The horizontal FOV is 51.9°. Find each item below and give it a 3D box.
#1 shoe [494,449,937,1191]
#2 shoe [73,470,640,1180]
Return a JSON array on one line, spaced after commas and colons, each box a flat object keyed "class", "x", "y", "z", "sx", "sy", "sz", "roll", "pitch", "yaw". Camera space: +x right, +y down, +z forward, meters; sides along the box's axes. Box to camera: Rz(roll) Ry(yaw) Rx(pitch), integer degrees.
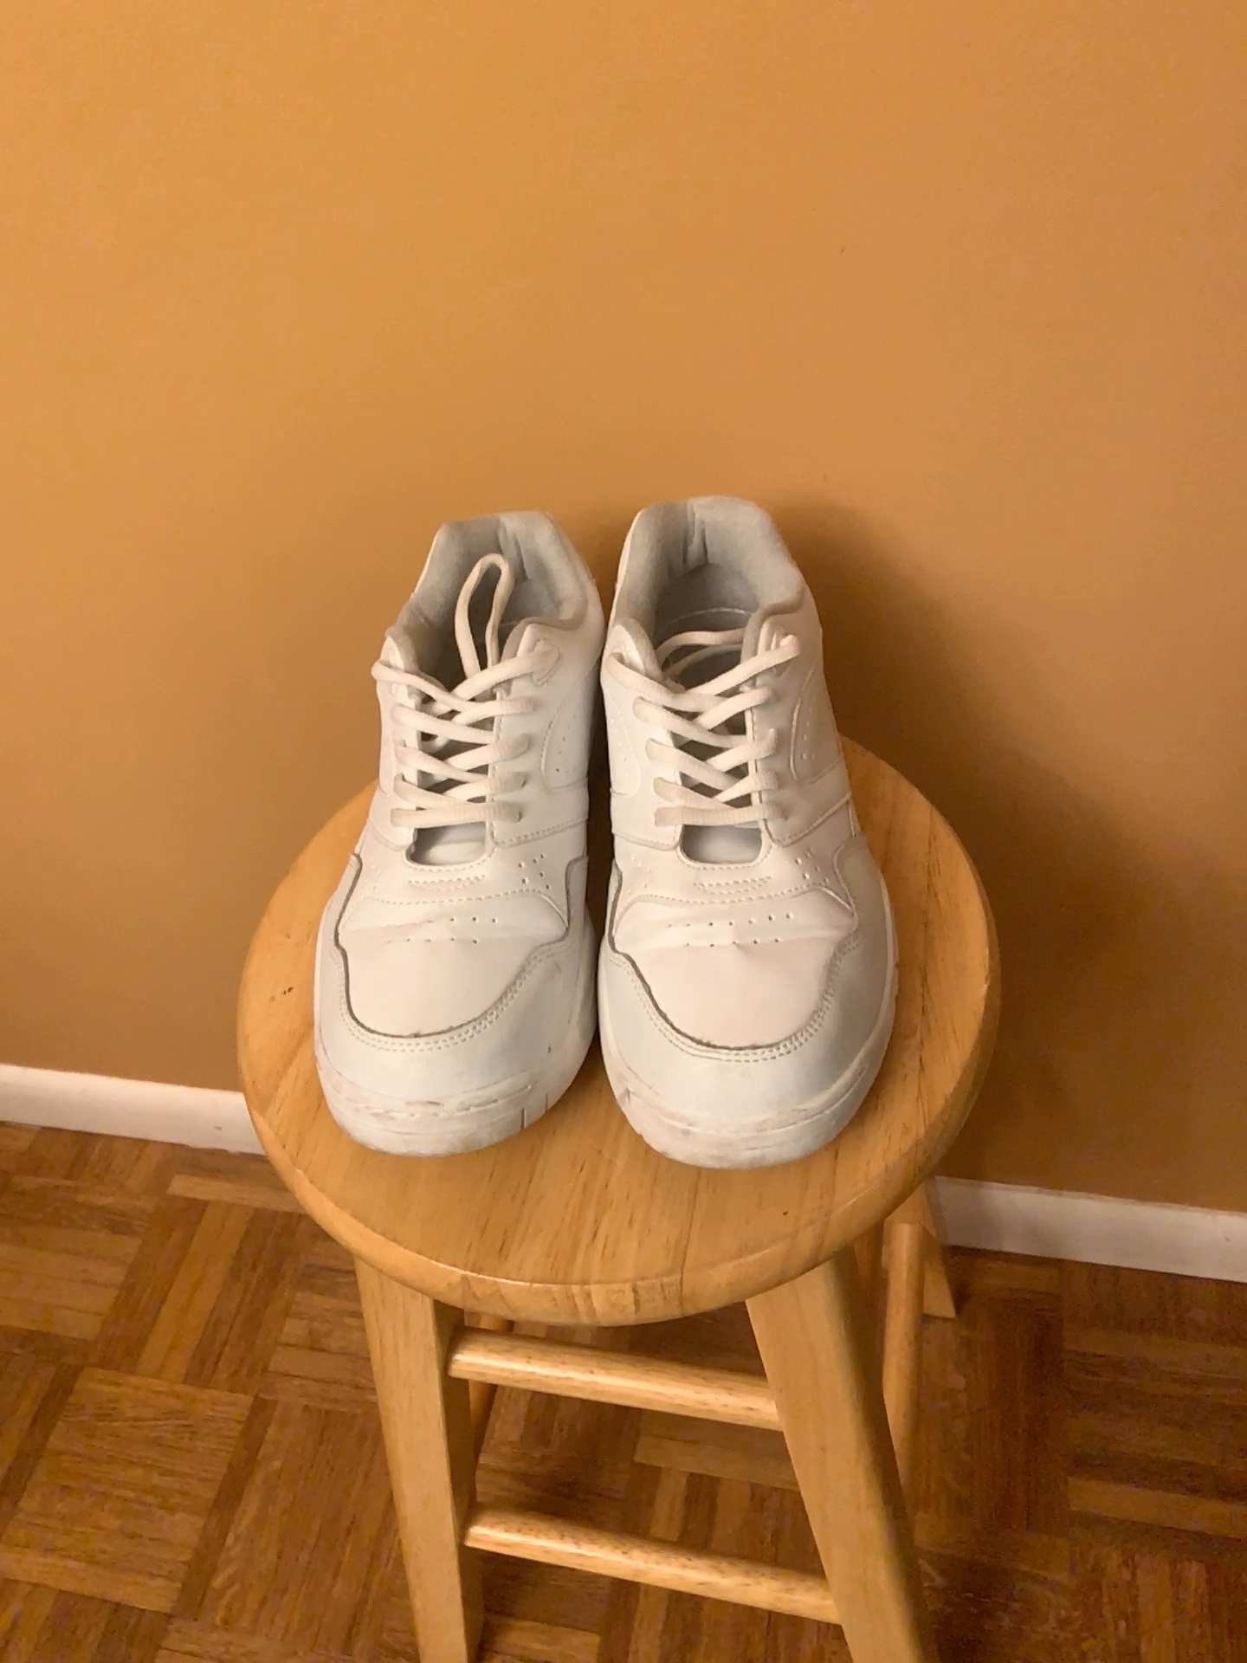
[{"class": "shoe", "x": 0.027, "y": -0.020, "z": 0.481, "sx": 0.120, "sy": 0.109, "sz": 0.271, "roll": -5, "pitch": 45, "yaw": 3}, {"class": "shoe", "x": -0.076, "y": -0.018, "z": 0.496, "sx": 0.130, "sy": 0.109, "sz": 0.271, "roll": 0, "pitch": 45, "yaw": 9}]
